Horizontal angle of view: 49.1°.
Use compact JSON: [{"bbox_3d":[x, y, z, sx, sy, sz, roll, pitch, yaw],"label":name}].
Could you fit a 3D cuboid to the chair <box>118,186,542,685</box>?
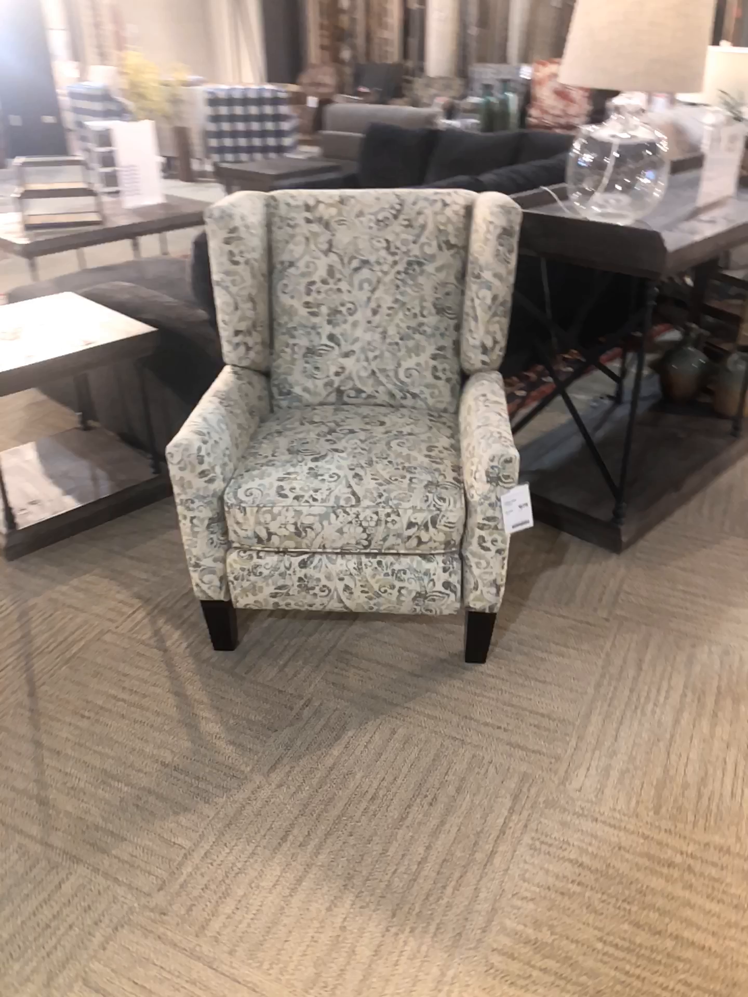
[{"bbox_3d":[-0.033,-0.208,2.064,0.780,0.975,0.804,3,29,7],"label":"chair"}]
